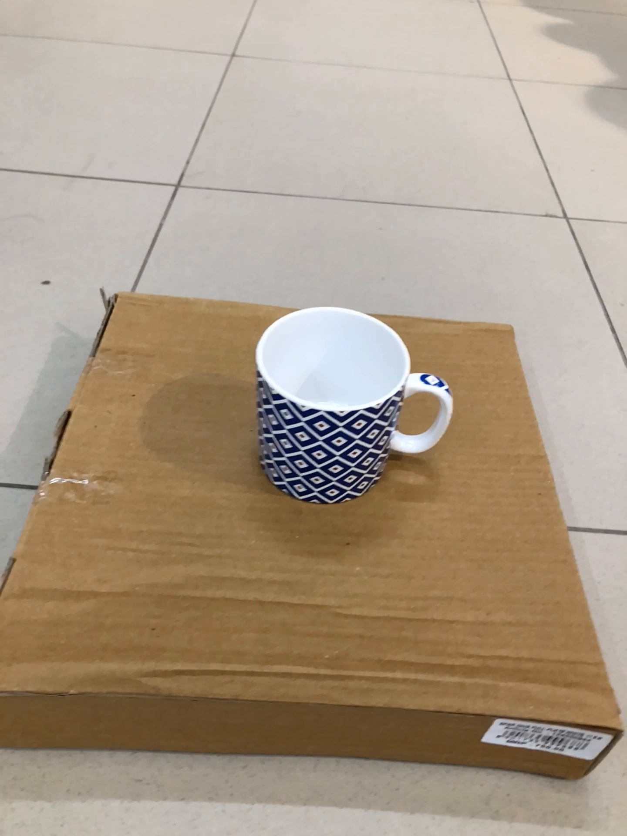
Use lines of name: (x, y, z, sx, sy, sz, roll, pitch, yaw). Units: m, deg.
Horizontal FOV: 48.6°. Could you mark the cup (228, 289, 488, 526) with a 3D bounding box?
cup: (0.018, -0.005, 0.349, 0.110, 0.079, 0.081, 3, 44, -1)
